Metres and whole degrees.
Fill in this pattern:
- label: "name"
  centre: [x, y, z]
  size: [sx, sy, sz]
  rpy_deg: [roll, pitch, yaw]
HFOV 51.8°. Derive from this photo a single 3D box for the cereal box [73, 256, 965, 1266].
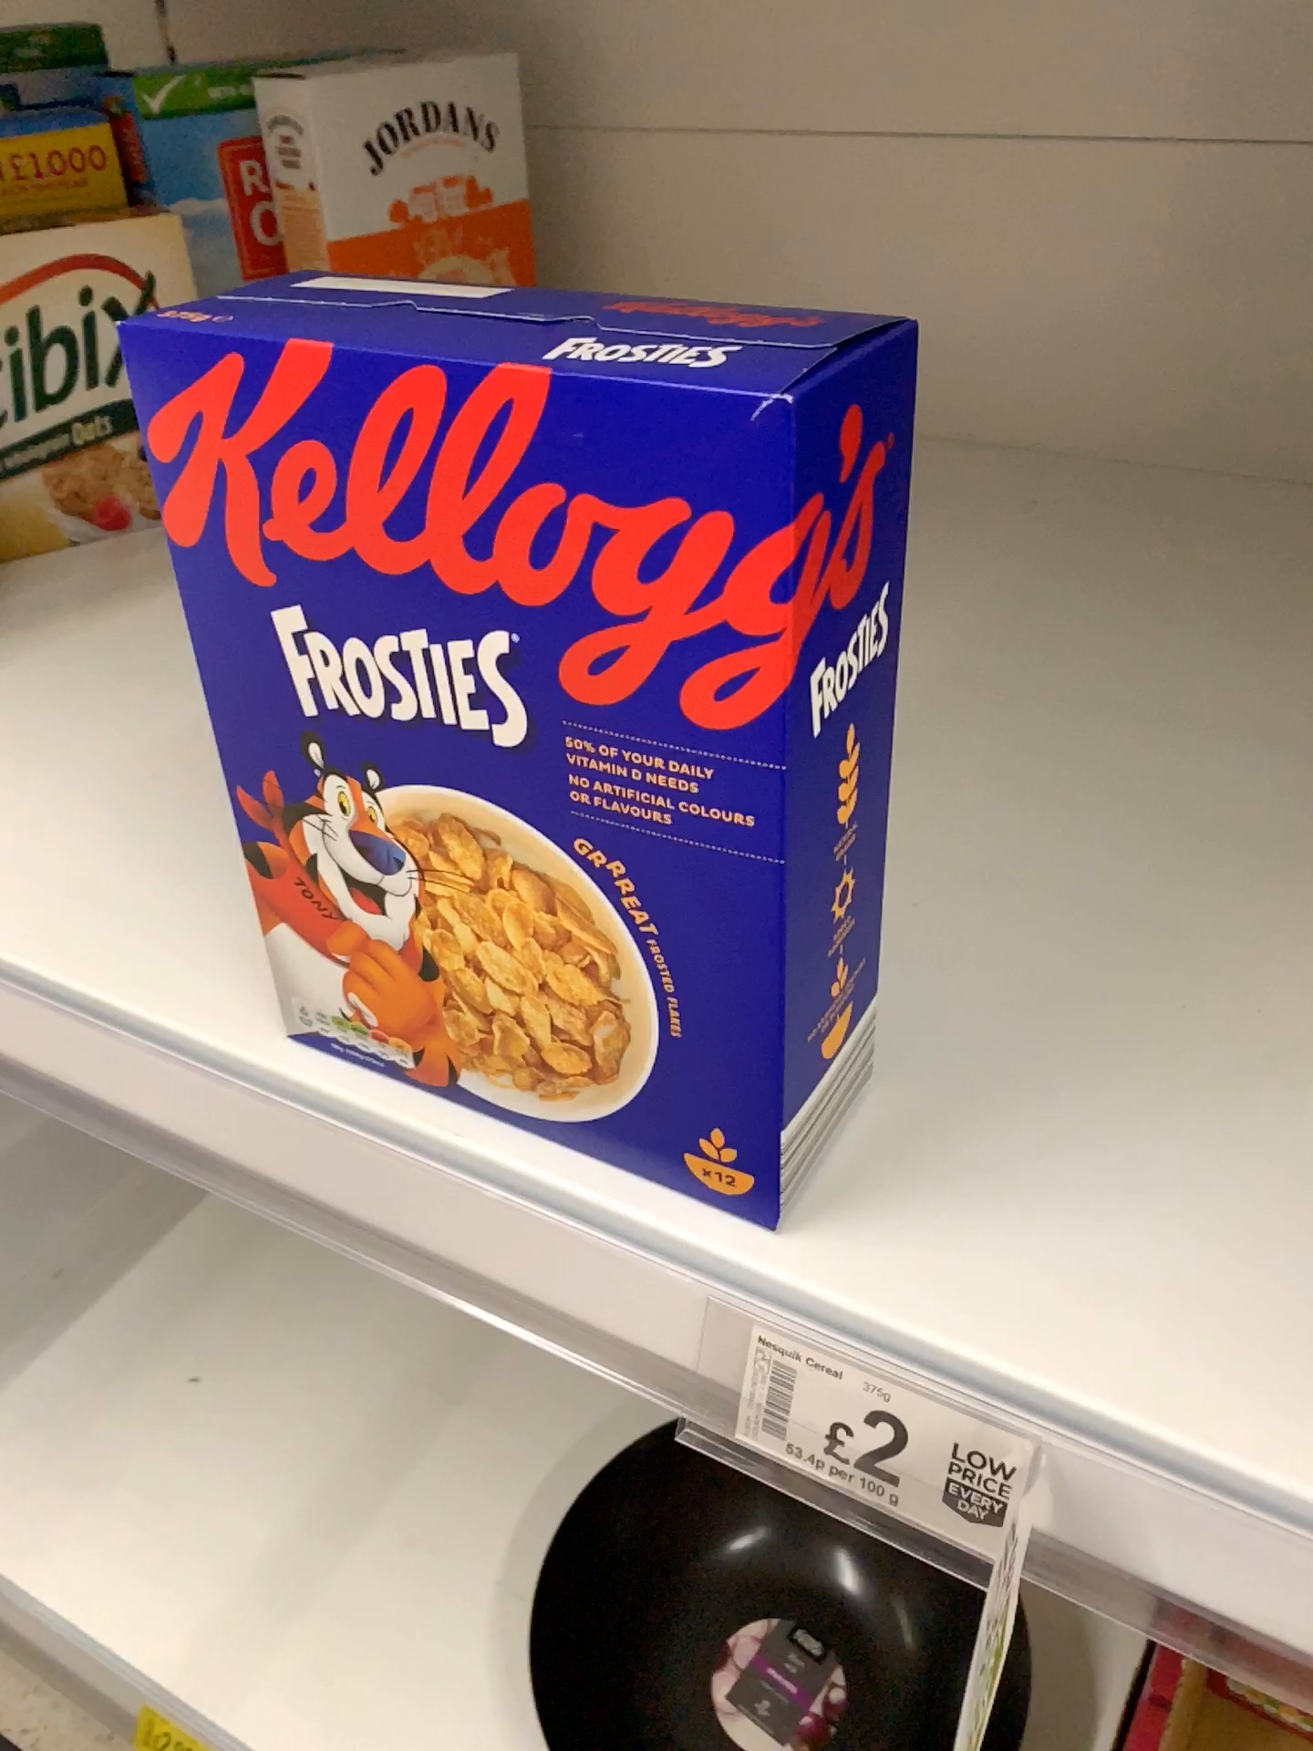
- label: "cereal box"
  centre: [-0.032, -0.035, 0.385]
  size: [0.200, 0.238, 0.081]
  rpy_deg: [16, 39, 26]
